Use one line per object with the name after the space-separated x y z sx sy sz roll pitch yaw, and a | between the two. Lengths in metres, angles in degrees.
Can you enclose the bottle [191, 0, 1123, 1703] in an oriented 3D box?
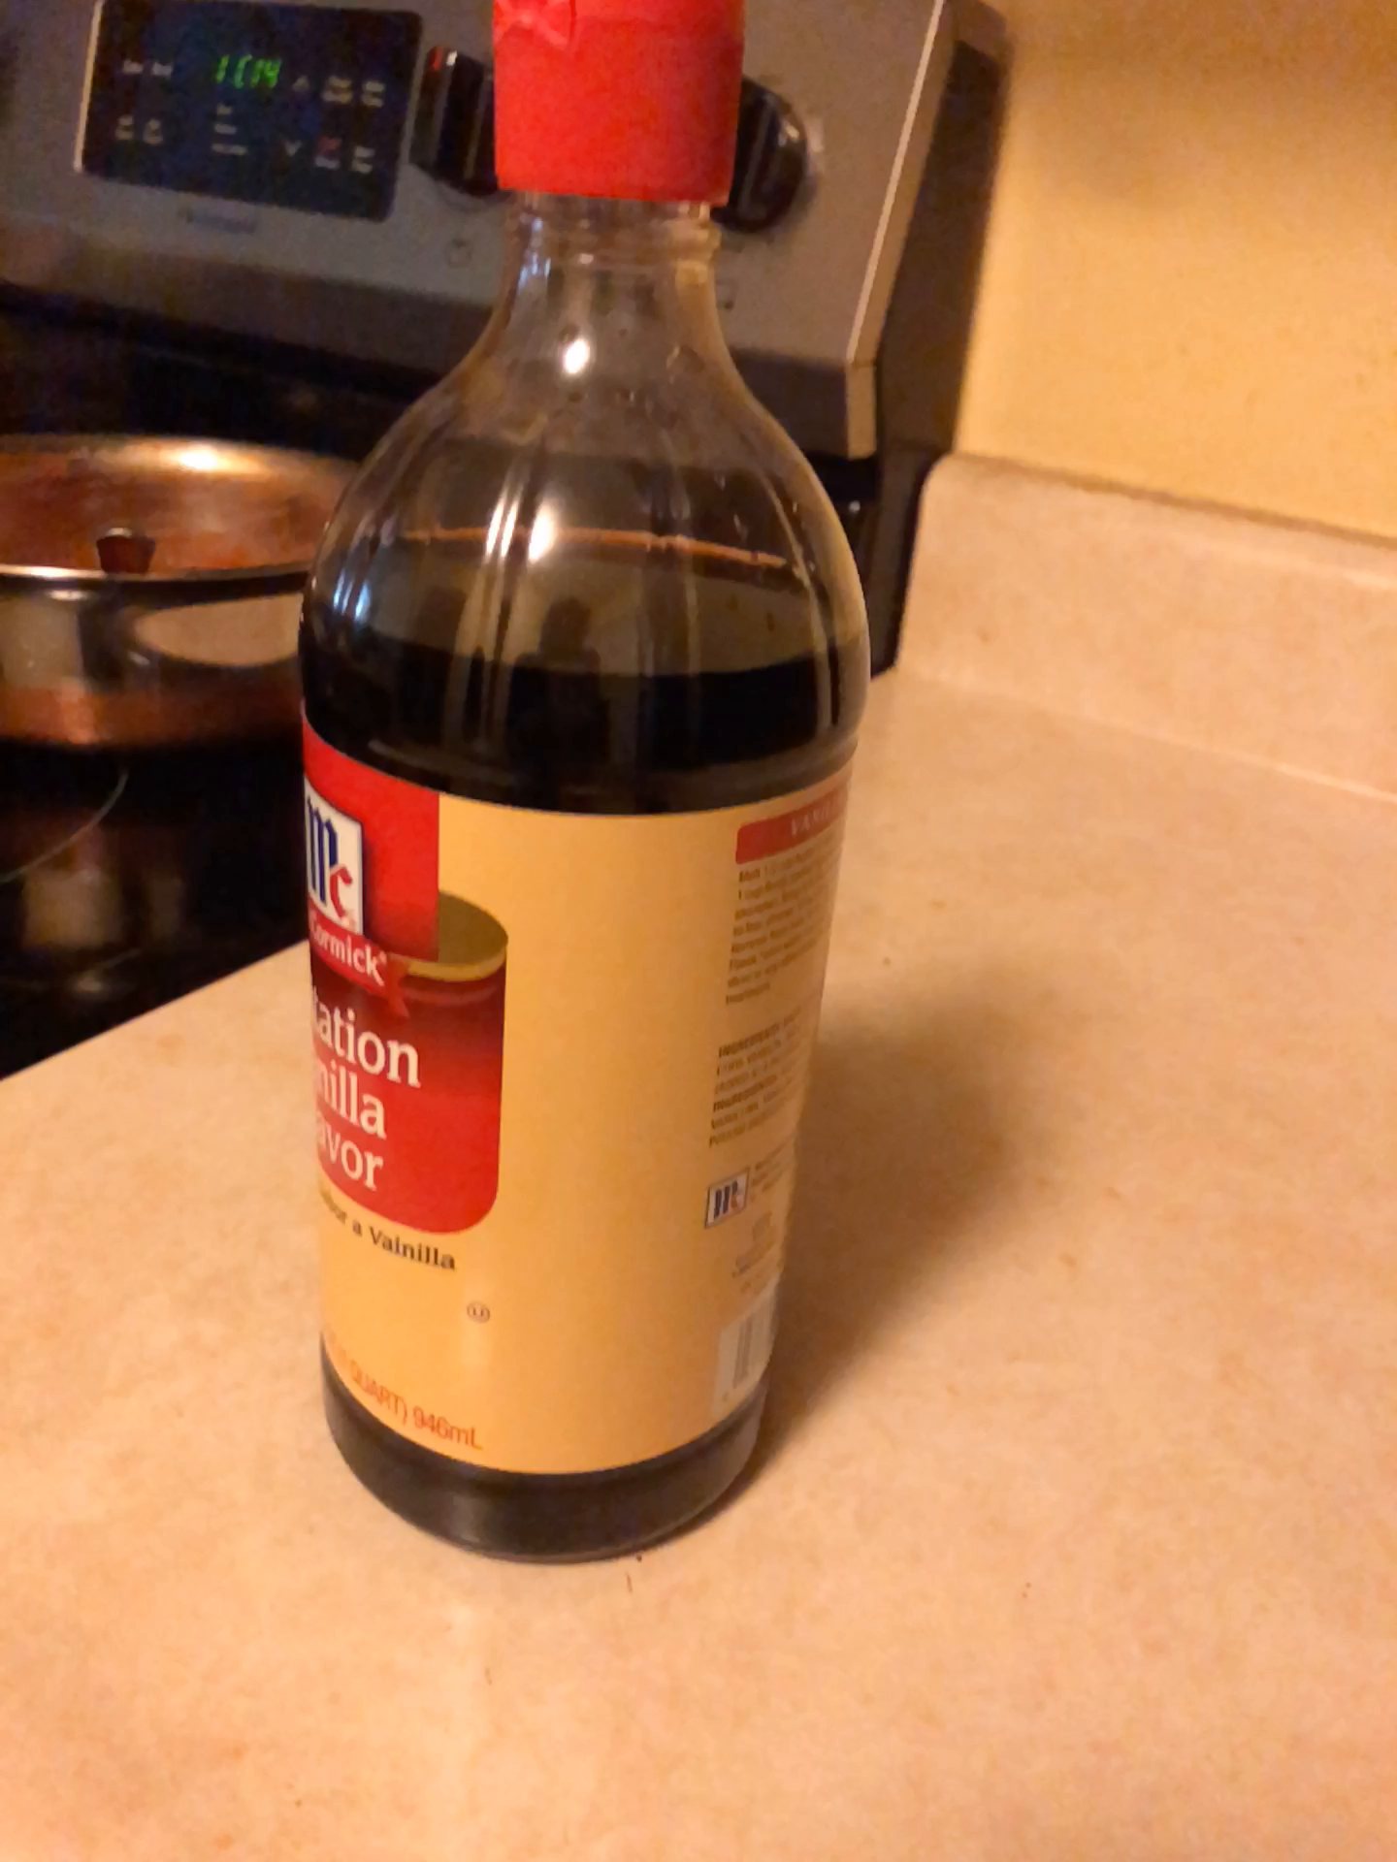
-0.019 -0.011 0.247 0.080 0.239 0.090 -13 32 -32 | bottle
